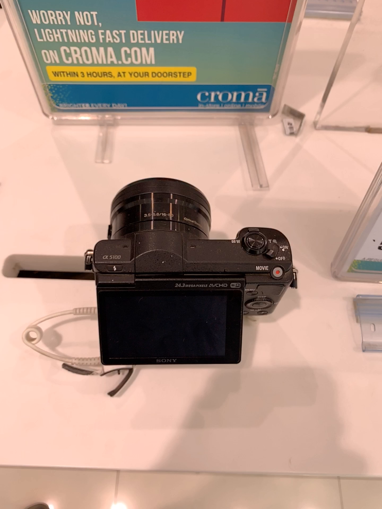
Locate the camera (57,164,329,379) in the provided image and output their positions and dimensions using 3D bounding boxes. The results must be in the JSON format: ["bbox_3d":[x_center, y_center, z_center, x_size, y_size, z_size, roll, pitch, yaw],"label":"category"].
[{"bbox_3d":[0.000,0.014,0.219,0.110,0.082,0.088,2,61,-1],"label":"camera"}]
